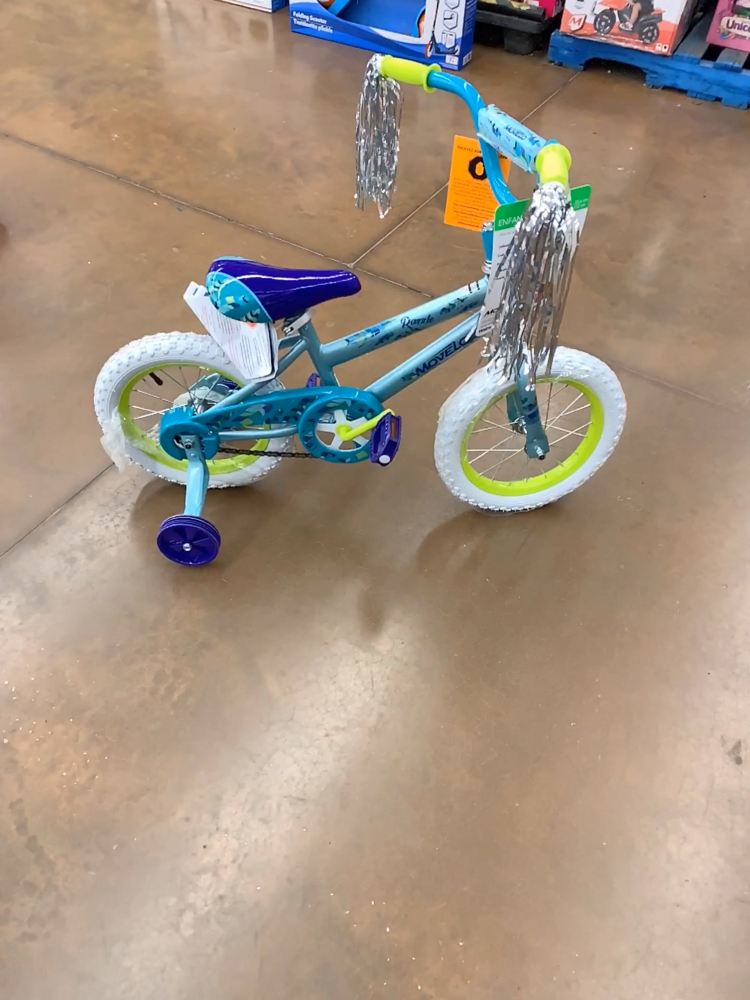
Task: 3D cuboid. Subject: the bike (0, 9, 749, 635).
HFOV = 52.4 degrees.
[{"bbox_3d":[-0.006,-0.249,1.138,0.859,0.639,0.626,-1,48,-5],"label":"bike"}]
